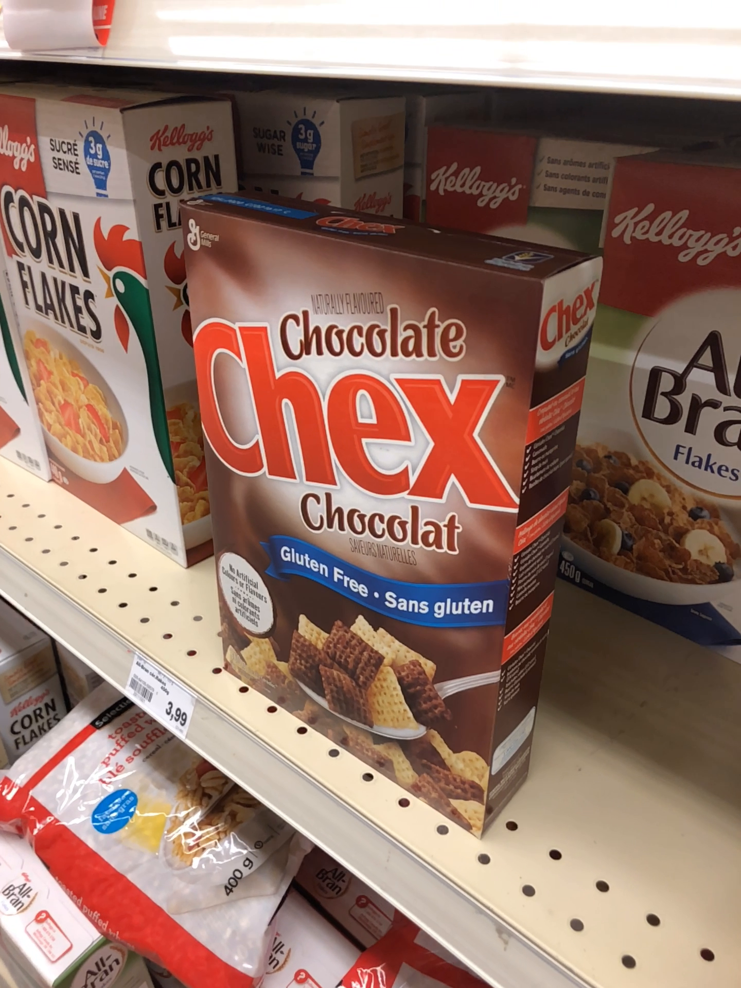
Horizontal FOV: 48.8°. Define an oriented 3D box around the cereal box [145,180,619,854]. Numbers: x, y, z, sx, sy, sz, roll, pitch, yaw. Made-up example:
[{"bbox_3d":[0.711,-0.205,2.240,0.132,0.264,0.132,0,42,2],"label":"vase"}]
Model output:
[{"bbox_3d":[-0.008,0.008,0.401,0.211,0.278,0.050,23,37,35],"label":"cereal box"}]
